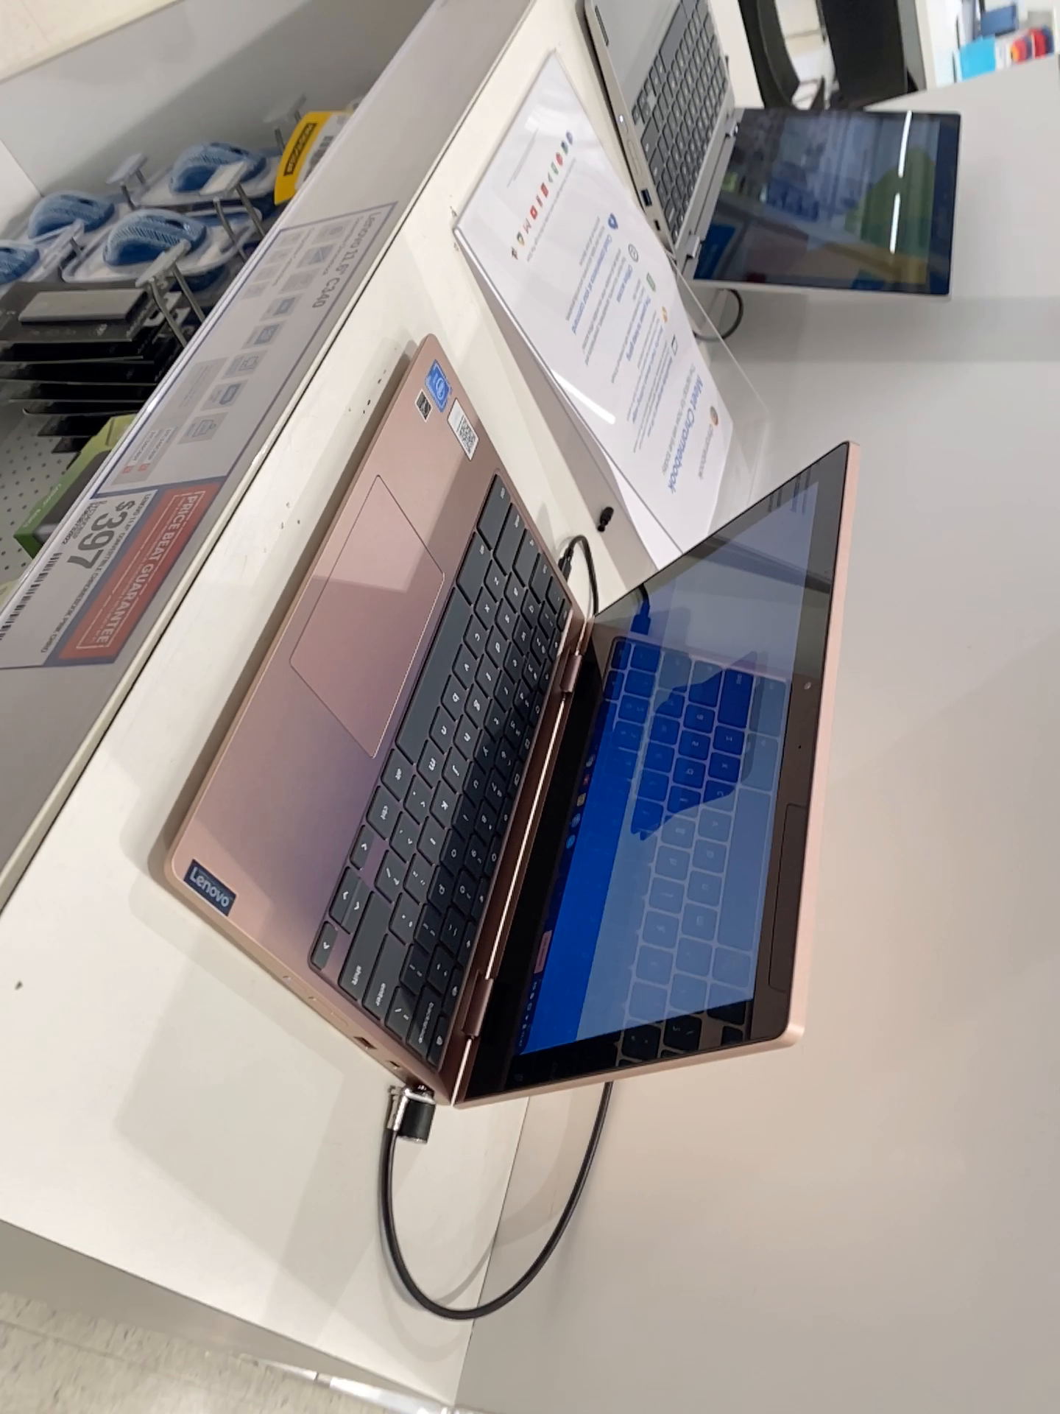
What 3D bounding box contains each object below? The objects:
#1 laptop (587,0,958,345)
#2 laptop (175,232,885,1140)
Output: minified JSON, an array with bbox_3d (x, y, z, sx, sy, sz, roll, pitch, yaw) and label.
[{"bbox_3d":[0.212,-0.499,0.841,0.265,0.192,0.311,59,38,-44],"label":"laptop"},{"bbox_3d":[0.035,-0.008,0.450,0.197,0.168,0.280,57,39,-44],"label":"laptop"}]
